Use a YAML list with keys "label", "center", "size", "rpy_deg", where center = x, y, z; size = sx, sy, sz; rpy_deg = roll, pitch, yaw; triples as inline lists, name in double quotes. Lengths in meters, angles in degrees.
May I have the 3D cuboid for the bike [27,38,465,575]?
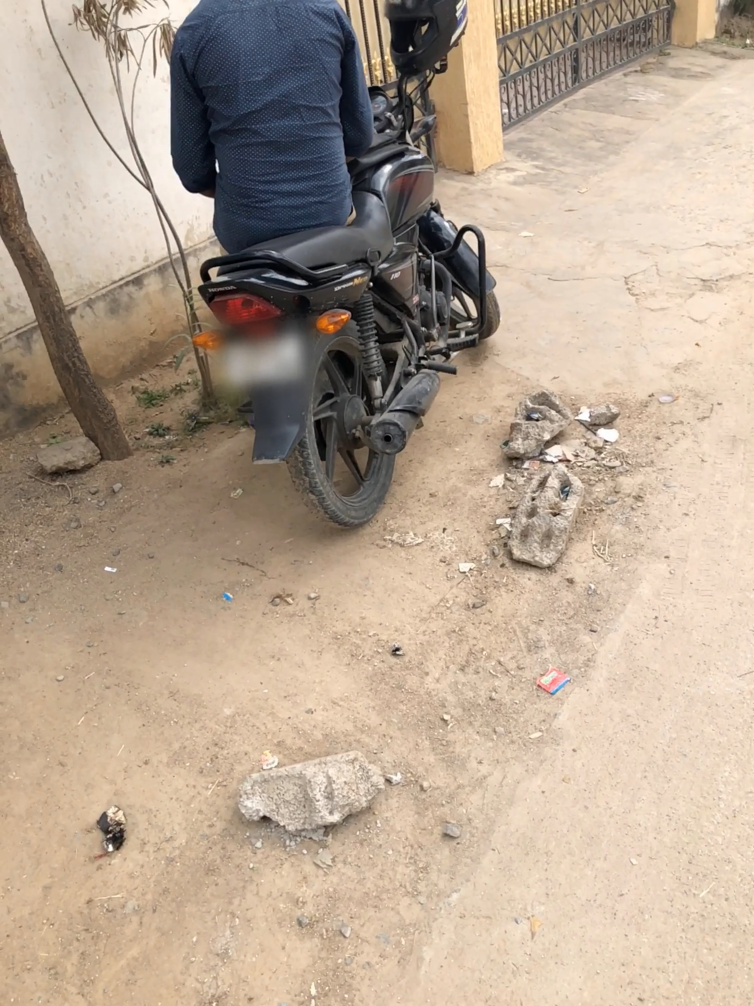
- label: "bike"
  center: [-0.185, -0.735, 2.619]
  size: [0.720, 1.070, 1.676]
  rpy_deg: [-2, 34, 13]
